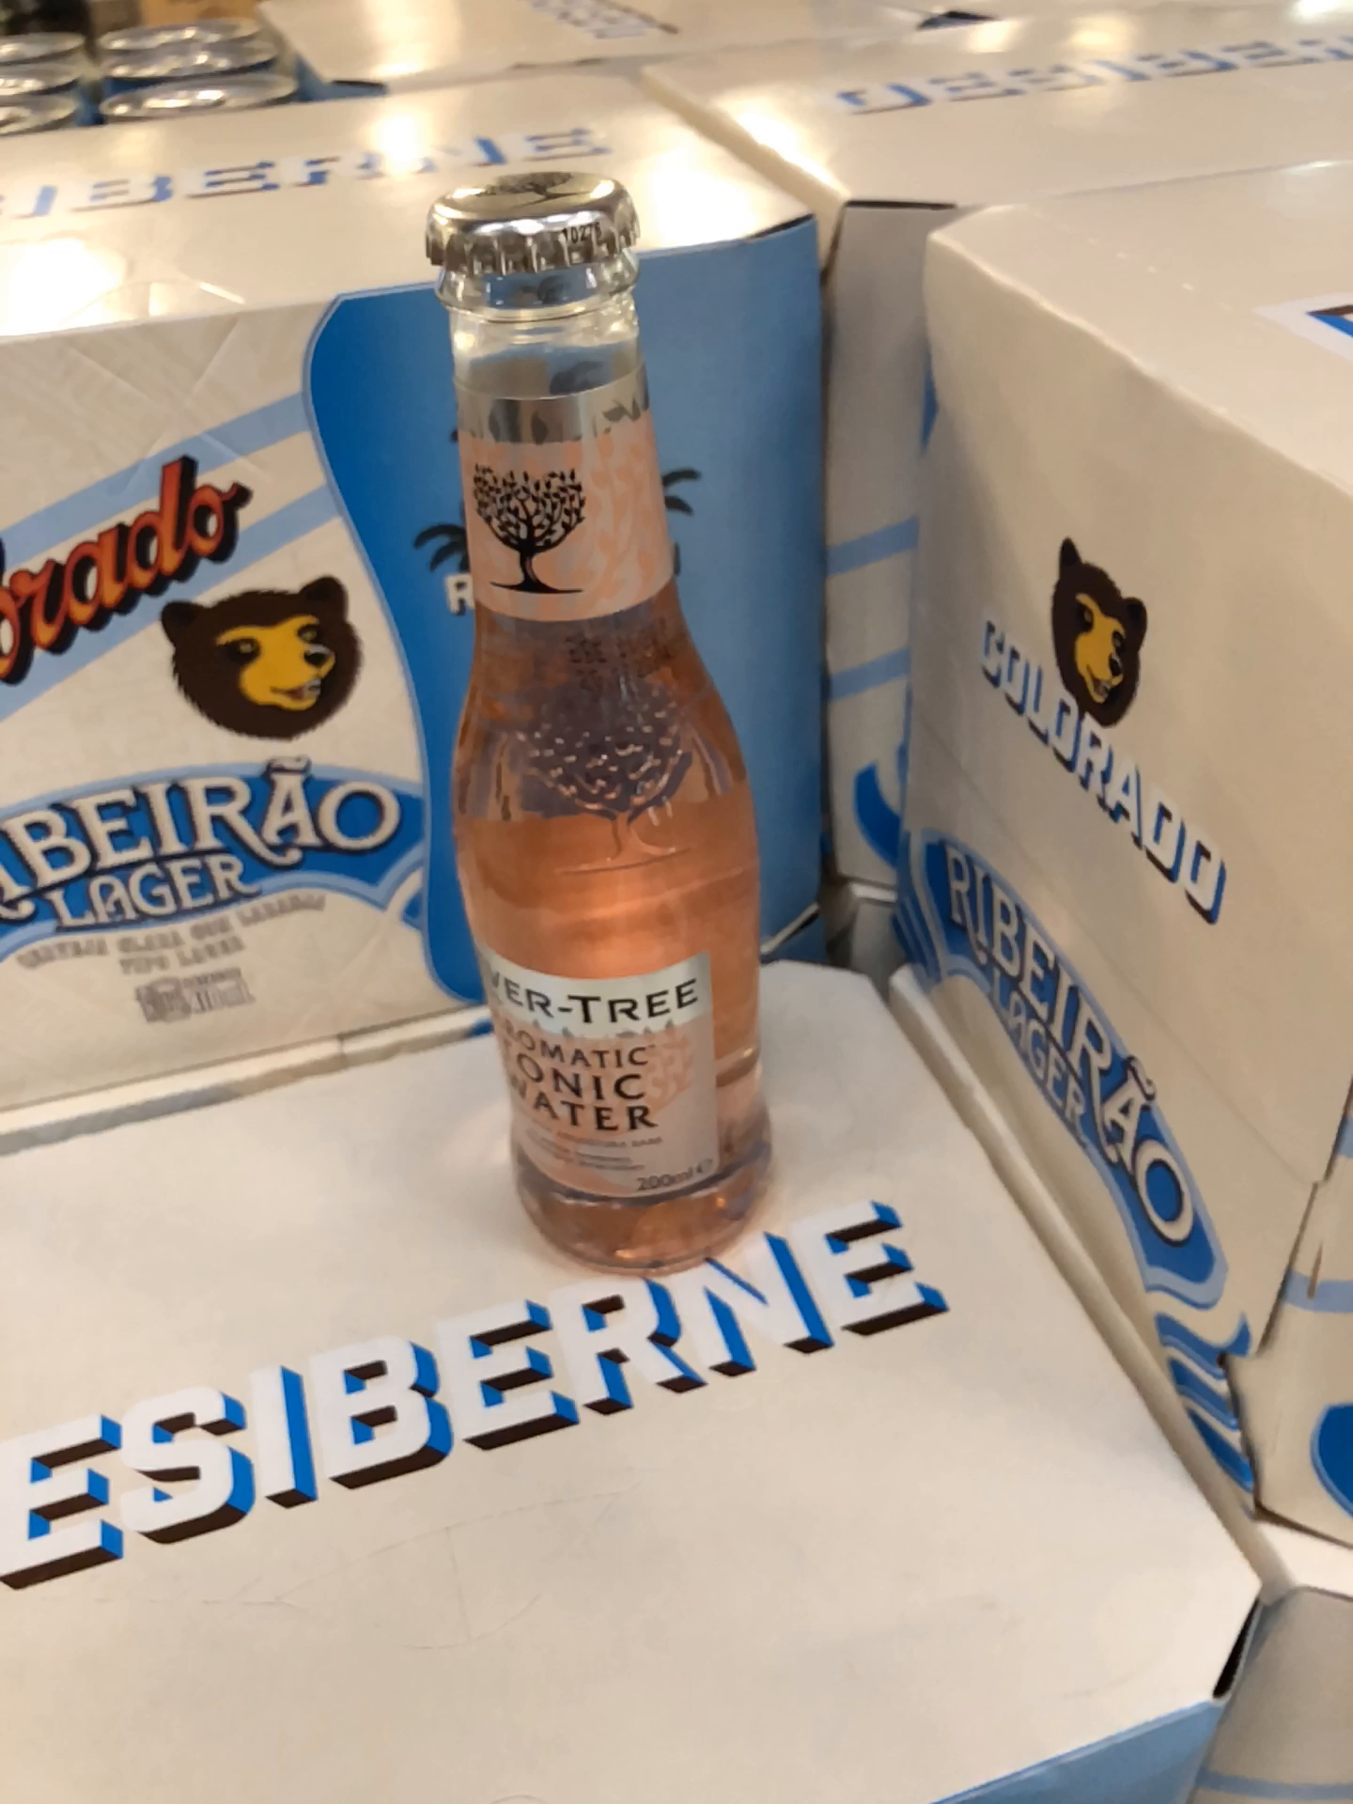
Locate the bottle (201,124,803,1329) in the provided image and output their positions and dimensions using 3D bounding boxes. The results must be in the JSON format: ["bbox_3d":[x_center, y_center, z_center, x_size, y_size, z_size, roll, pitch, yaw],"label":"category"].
[{"bbox_3d":[-0.017,-0.018,0.251,0.060,0.188,0.050,14,40,22],"label":"bottle"}]
